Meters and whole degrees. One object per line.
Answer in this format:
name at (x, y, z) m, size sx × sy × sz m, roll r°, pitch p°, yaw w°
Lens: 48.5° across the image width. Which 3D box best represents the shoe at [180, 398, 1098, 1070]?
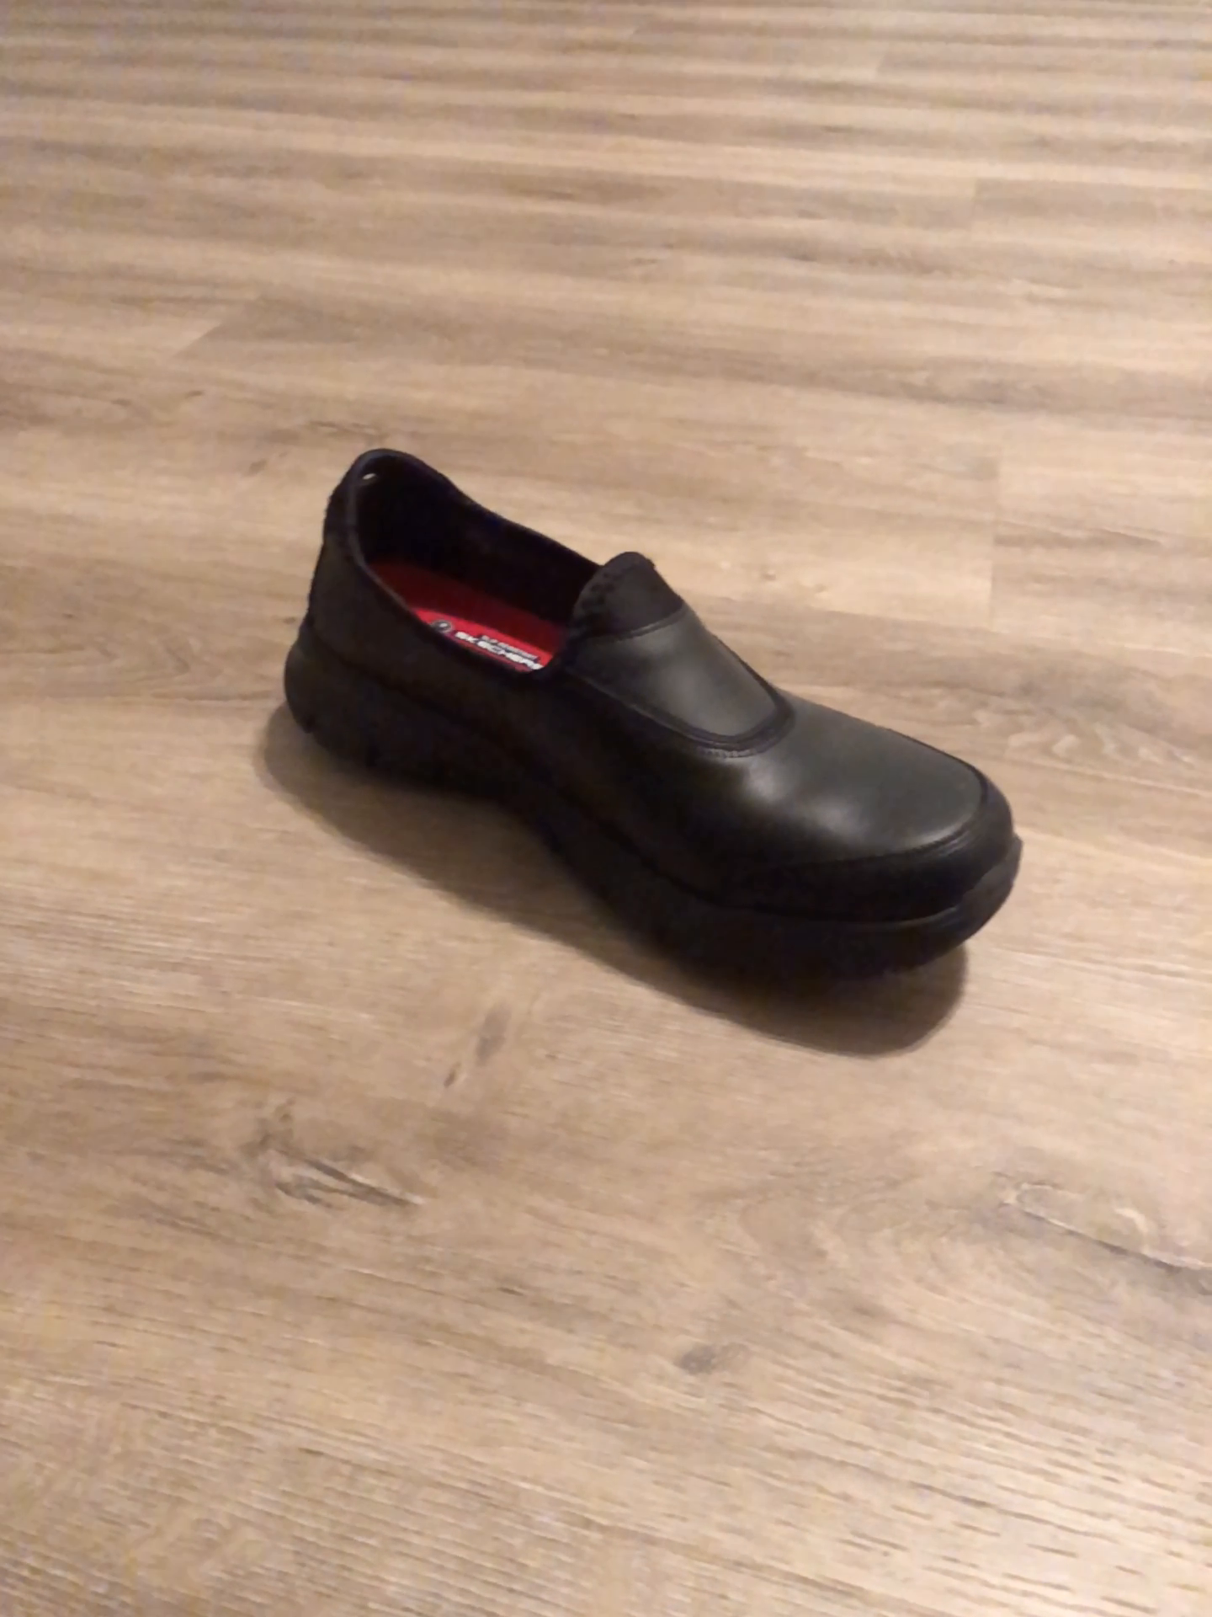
shoe at (0.000, -0.036, 0.392) m, size 0.240 × 0.090 × 0.090 m, roll 24°, pitch 44°, yaw 28°
